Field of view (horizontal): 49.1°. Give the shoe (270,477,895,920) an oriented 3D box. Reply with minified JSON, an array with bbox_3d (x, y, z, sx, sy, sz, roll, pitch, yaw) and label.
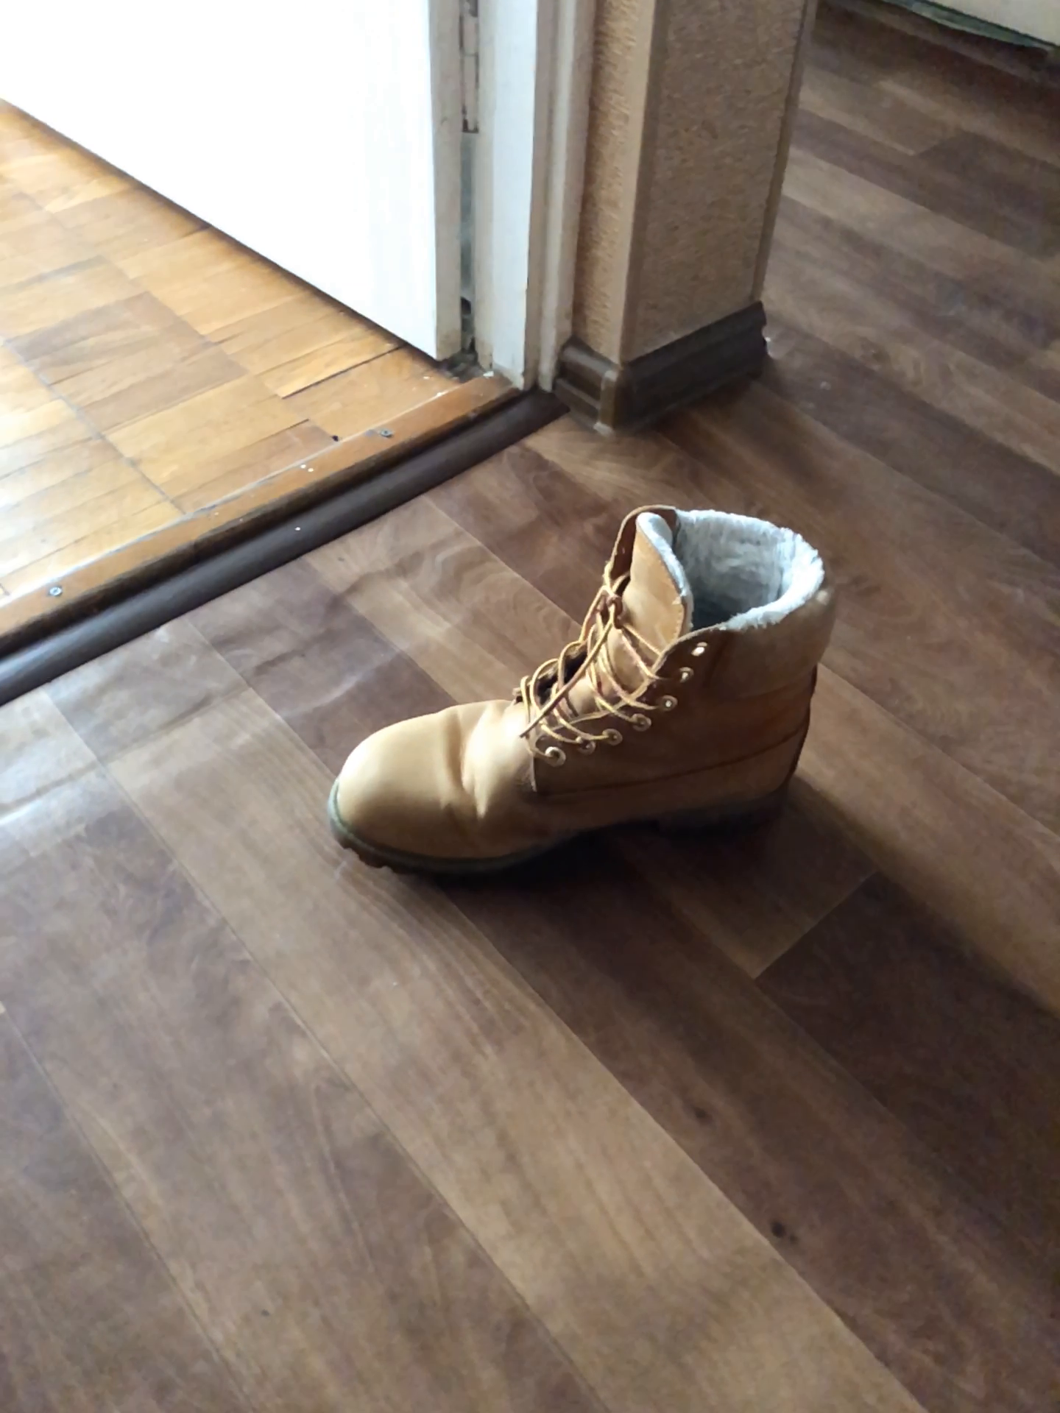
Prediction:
[{"bbox_3d":[0.019,-0.003,0.642,0.290,0.179,0.121,-8,50,-9],"label":"shoe"}]
